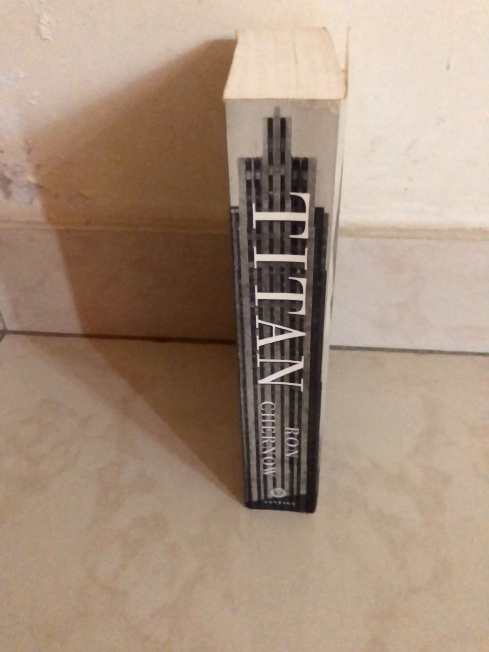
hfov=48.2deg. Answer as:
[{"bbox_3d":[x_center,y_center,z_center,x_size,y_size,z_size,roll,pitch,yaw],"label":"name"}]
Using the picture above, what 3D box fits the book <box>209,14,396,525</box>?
[{"bbox_3d":[0.027,-0.040,0.324,0.060,0.229,0.201,1,36,4],"label":"book"}]
